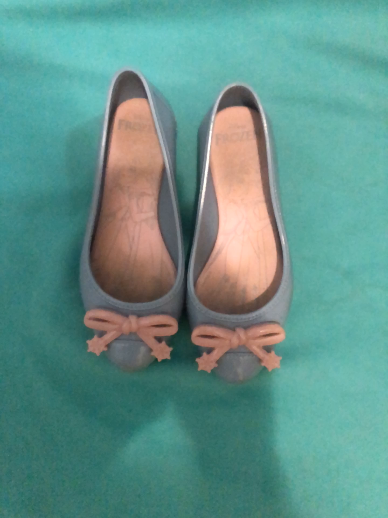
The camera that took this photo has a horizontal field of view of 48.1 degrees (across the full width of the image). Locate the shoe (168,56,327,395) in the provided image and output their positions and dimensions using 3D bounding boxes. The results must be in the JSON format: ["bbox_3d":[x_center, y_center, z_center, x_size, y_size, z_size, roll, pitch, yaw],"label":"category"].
[{"bbox_3d":[0.029,-0.020,0.275,0.080,0.060,0.190,-2,85,0],"label":"shoe"}]

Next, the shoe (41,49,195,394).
[{"bbox_3d":[-0.044,-0.022,0.271,0.080,0.060,0.190,-2,85,0],"label":"shoe"}]
